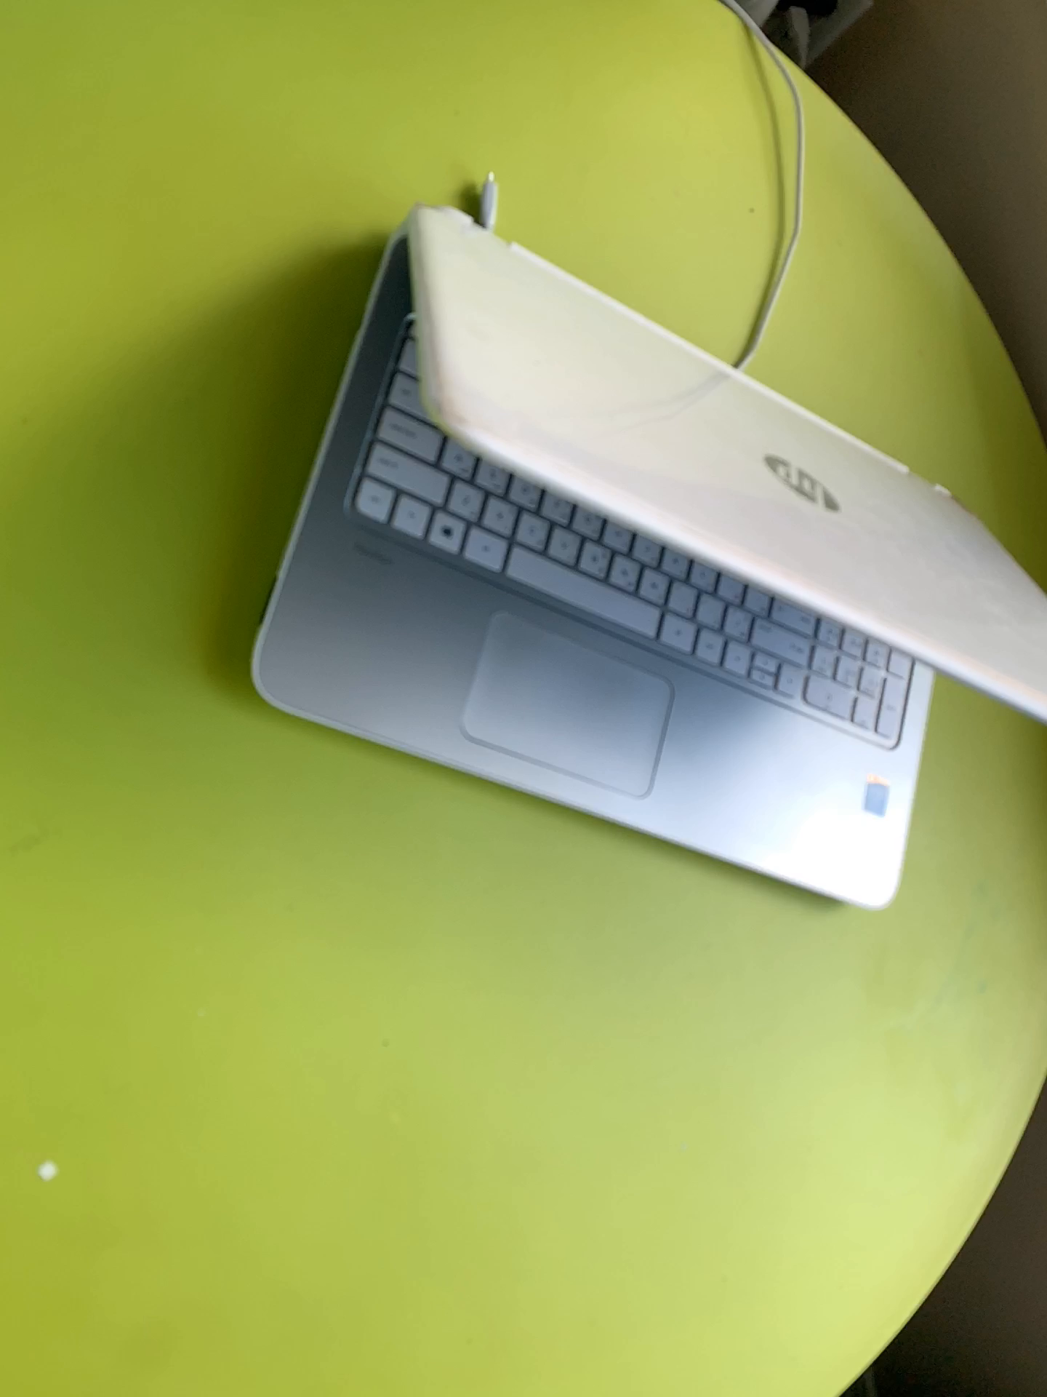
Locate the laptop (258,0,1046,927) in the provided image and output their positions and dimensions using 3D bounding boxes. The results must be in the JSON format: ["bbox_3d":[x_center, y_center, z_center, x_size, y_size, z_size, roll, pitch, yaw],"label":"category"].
[{"bbox_3d":[0.113,-0.067,0.473,0.368,0.163,0.243,21,75,-24],"label":"laptop"}]
